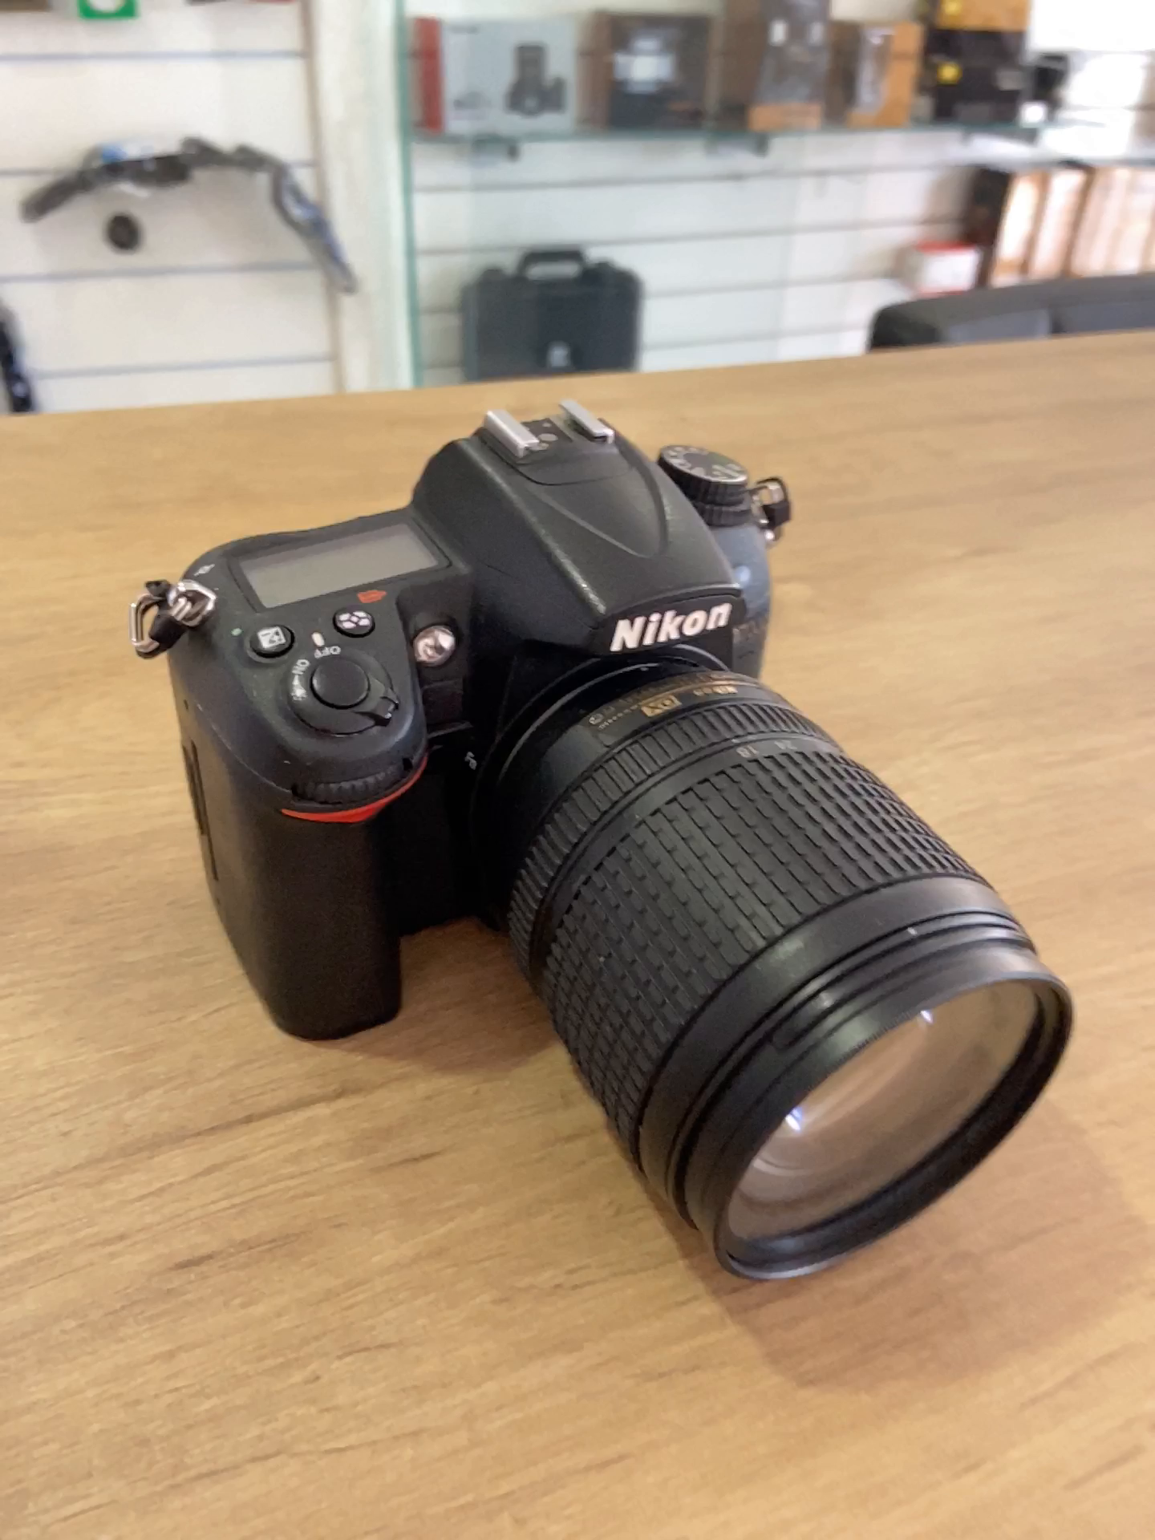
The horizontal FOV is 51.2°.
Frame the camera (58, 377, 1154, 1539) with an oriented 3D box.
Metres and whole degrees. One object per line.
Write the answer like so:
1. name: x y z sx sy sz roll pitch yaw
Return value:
1. camera: 0.005 0.010 0.224 0.140 0.099 0.161 -18 41 -26
